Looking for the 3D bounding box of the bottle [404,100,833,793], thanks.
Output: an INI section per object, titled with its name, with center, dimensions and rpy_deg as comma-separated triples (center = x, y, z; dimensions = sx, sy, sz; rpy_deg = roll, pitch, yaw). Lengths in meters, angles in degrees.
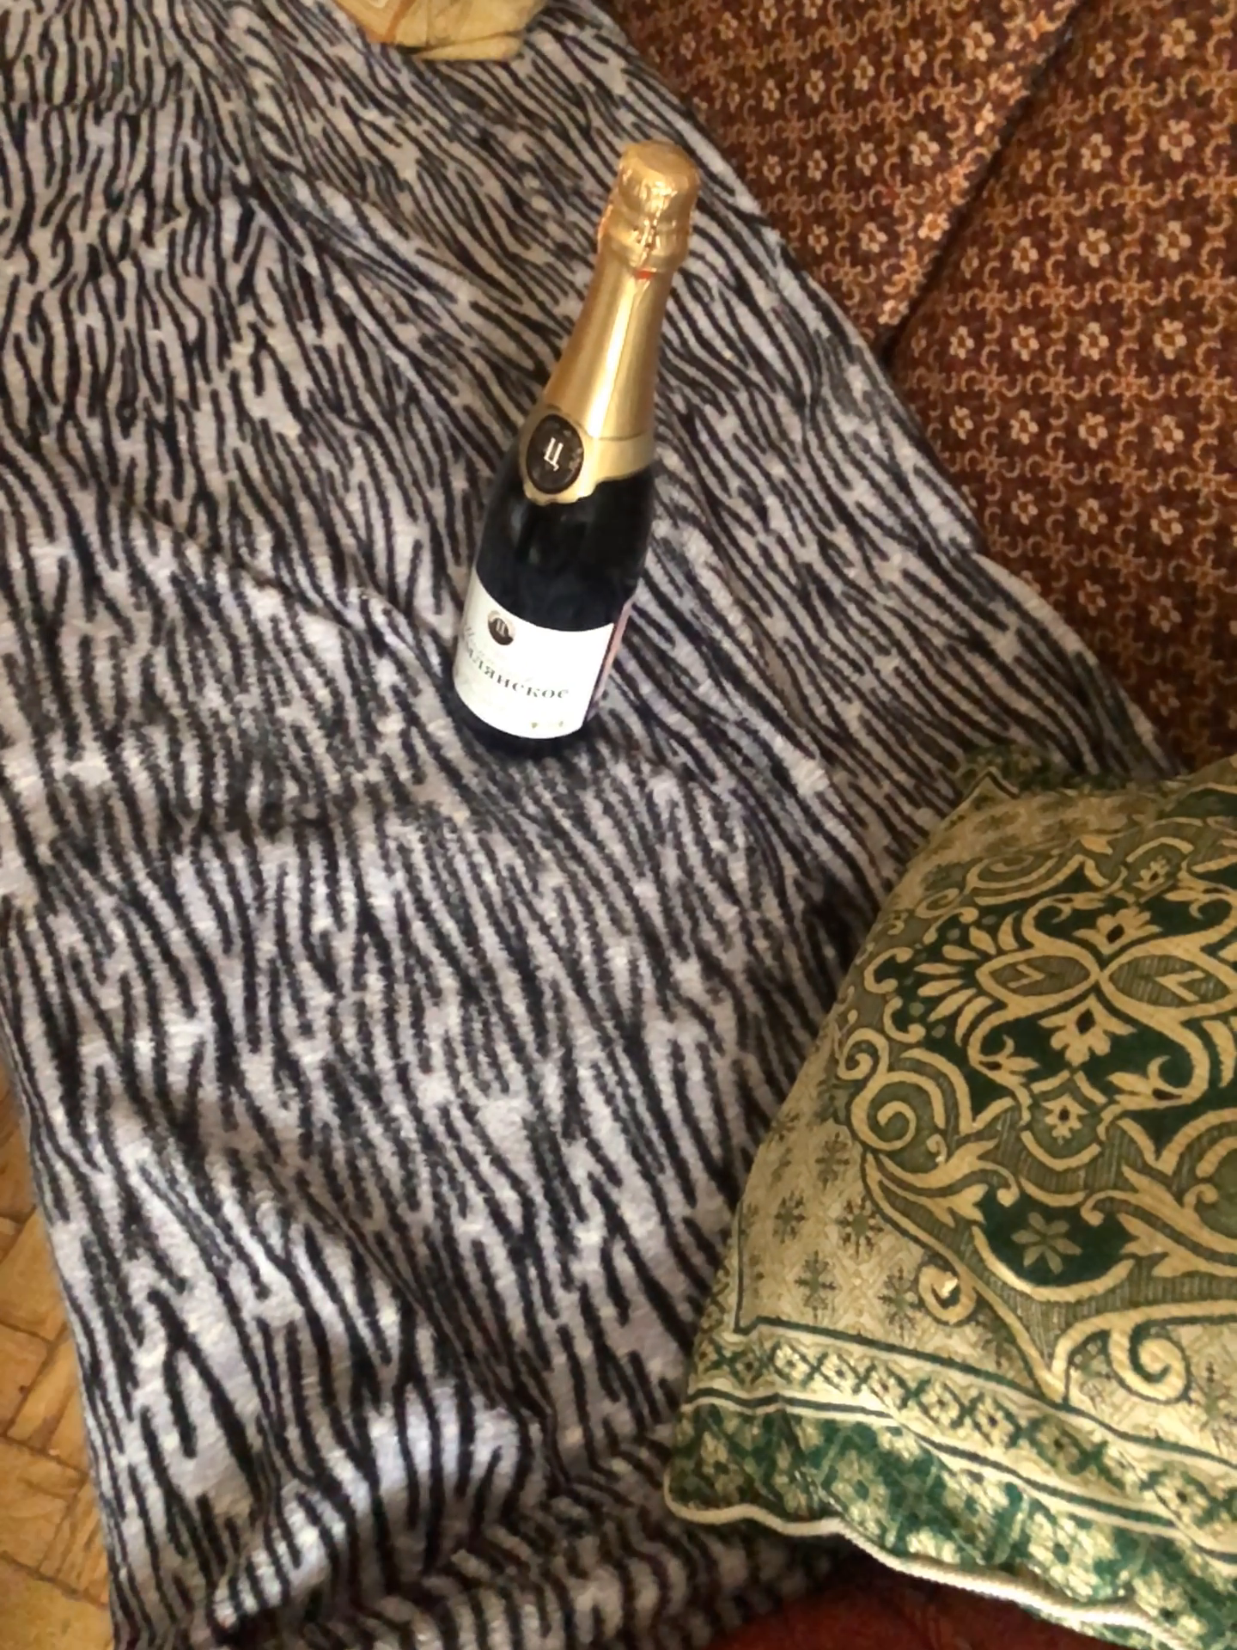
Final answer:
[bottle]
center = -0.015, -0.156, 0.618
dimensions = 0.100, 0.279, 0.100
rpy_deg = 7, 51, -9
